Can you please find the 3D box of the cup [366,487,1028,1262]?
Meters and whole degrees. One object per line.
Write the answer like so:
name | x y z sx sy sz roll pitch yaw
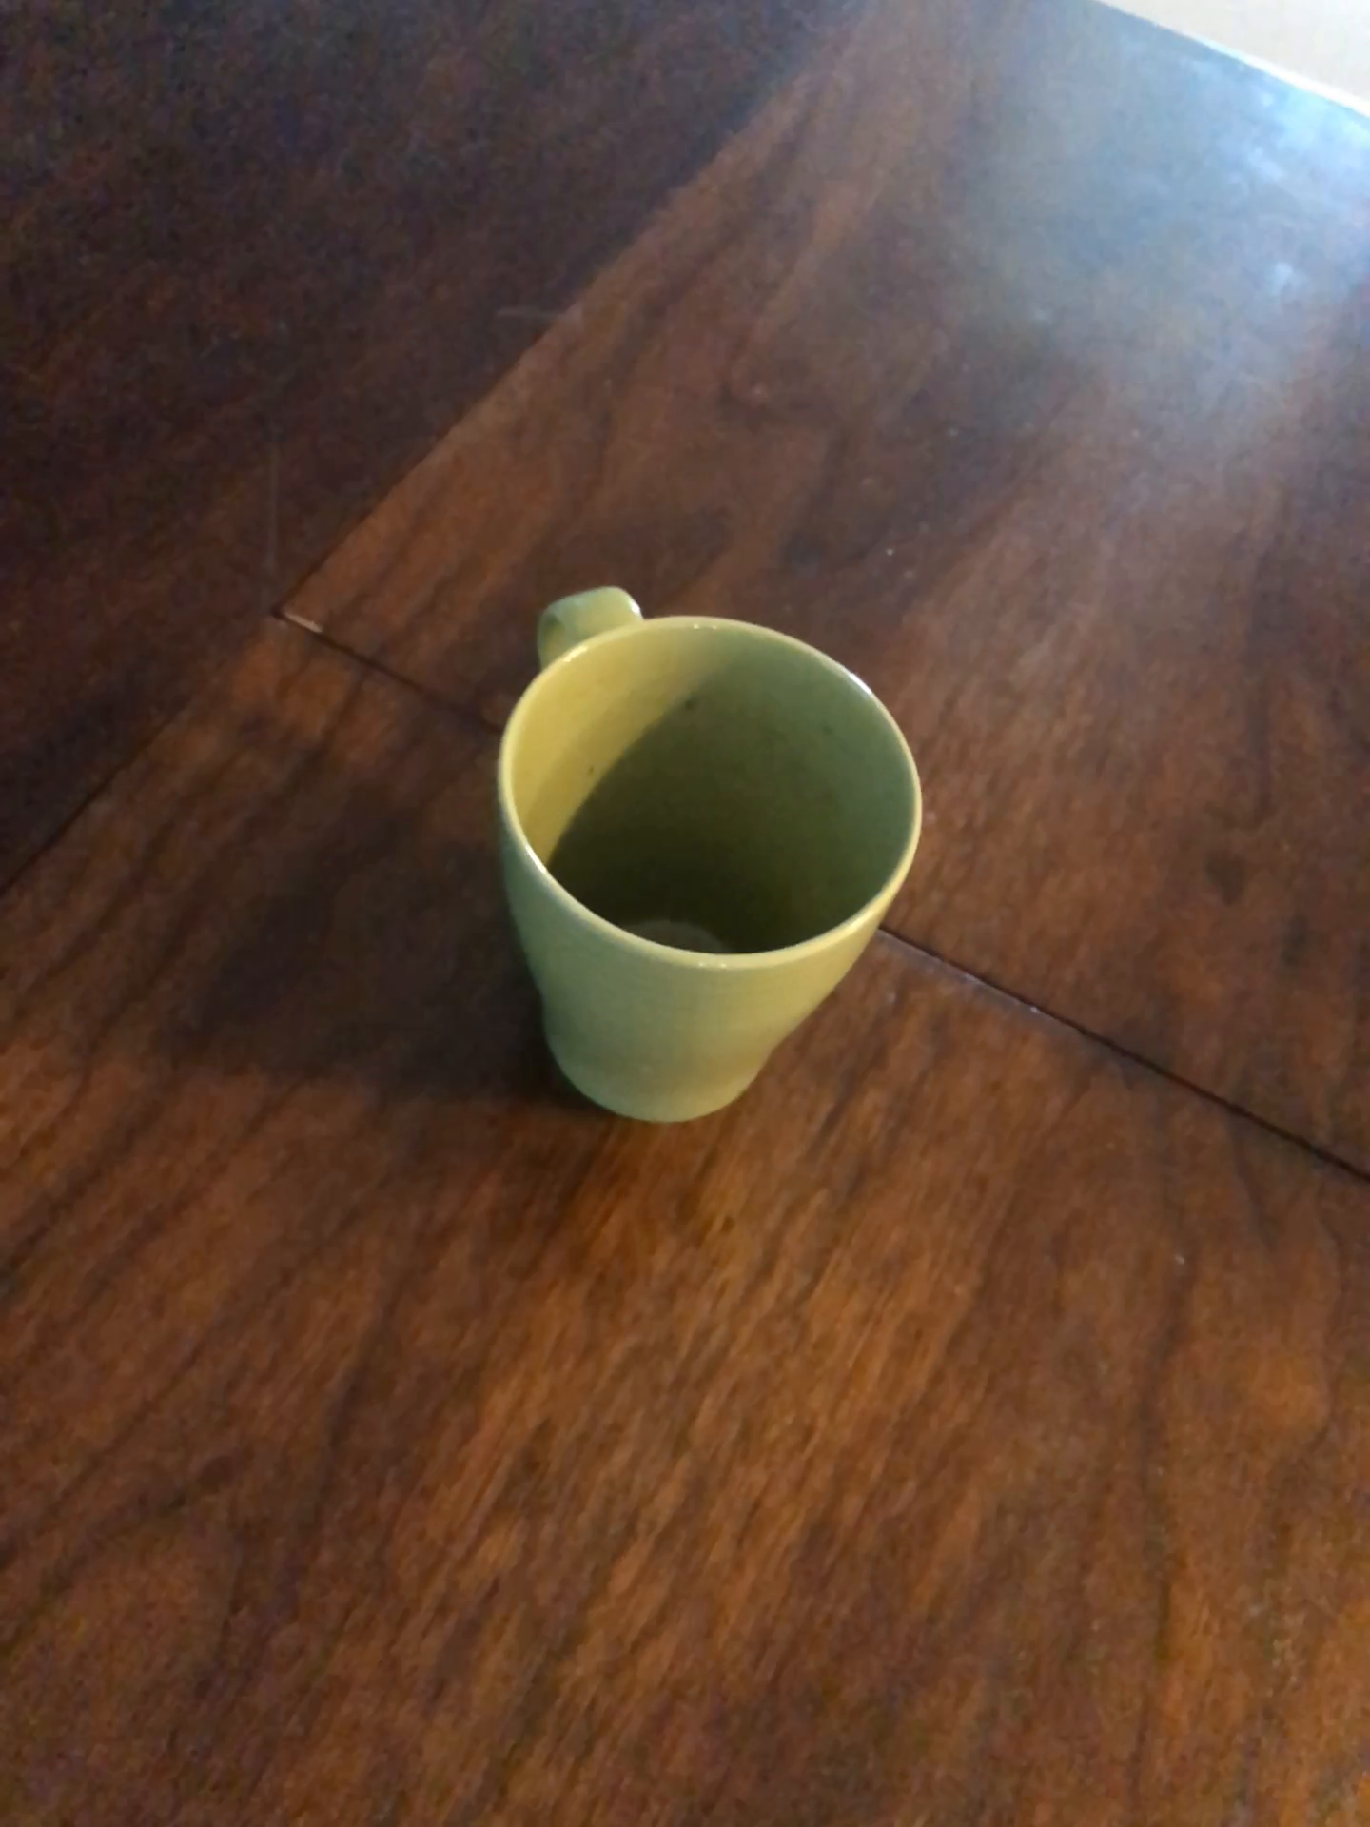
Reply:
cup | -0.006 -0.009 0.329 0.090 0.090 0.120 -15 62 -16
